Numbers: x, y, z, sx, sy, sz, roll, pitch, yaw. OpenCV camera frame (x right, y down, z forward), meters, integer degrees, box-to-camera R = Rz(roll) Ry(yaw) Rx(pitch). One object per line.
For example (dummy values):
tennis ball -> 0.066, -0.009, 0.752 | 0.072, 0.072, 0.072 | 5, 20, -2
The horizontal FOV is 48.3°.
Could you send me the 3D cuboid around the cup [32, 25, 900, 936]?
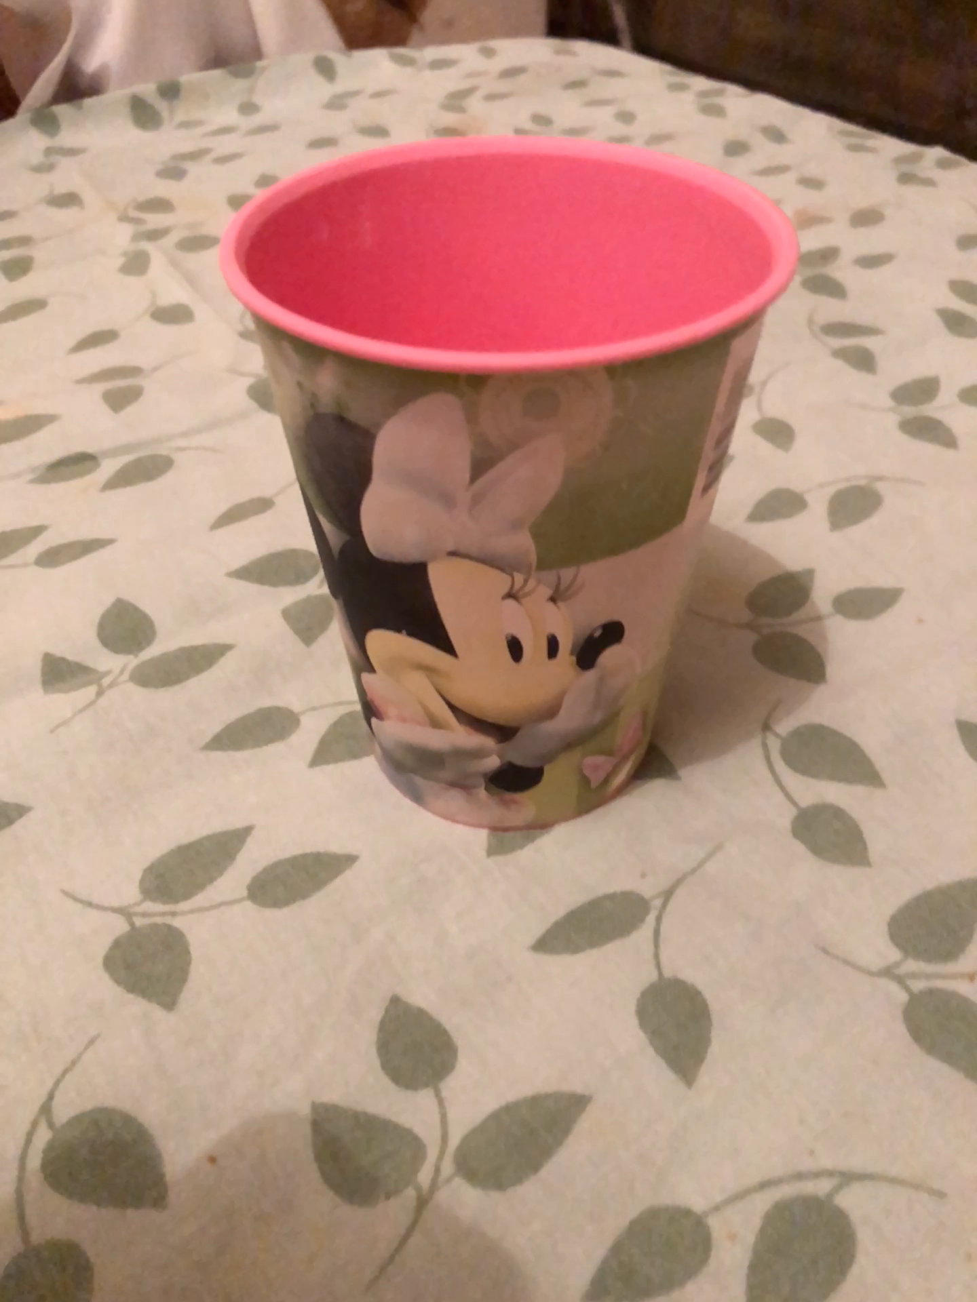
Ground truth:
cup -> 0.003, -0.037, 0.210 | 0.100, 0.119, 0.101 | -1, 42, 0
